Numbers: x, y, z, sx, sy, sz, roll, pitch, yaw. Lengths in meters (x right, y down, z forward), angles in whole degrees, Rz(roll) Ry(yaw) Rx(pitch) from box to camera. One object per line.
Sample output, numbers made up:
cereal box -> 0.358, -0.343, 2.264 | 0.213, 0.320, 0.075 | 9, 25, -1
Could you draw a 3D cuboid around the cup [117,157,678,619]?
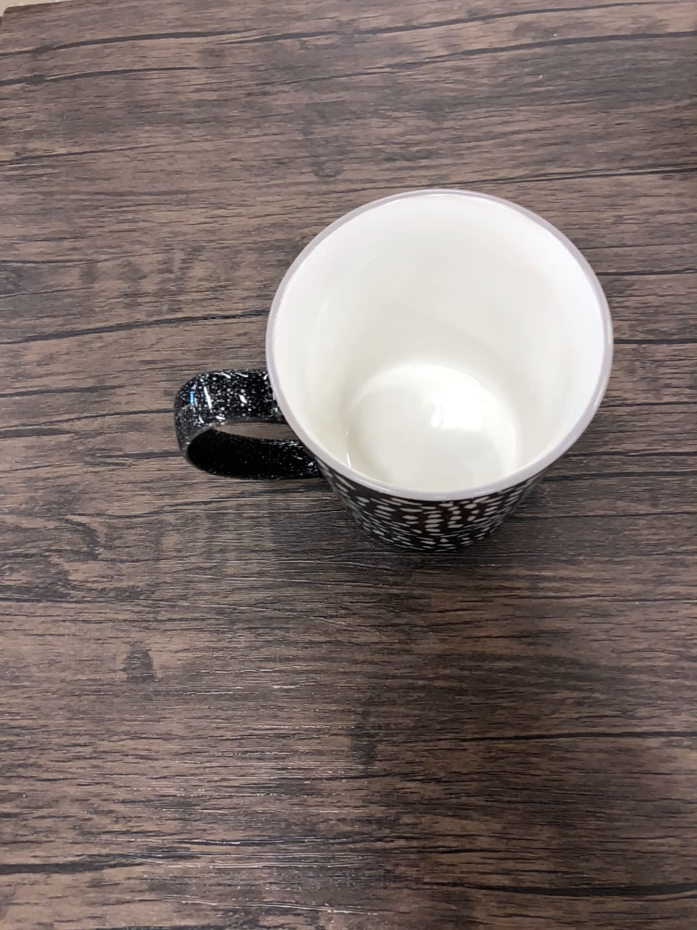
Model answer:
cup -> 0.011, -0.017, 0.263 | 0.140, 0.100, 0.100 | -10, 70, 1
